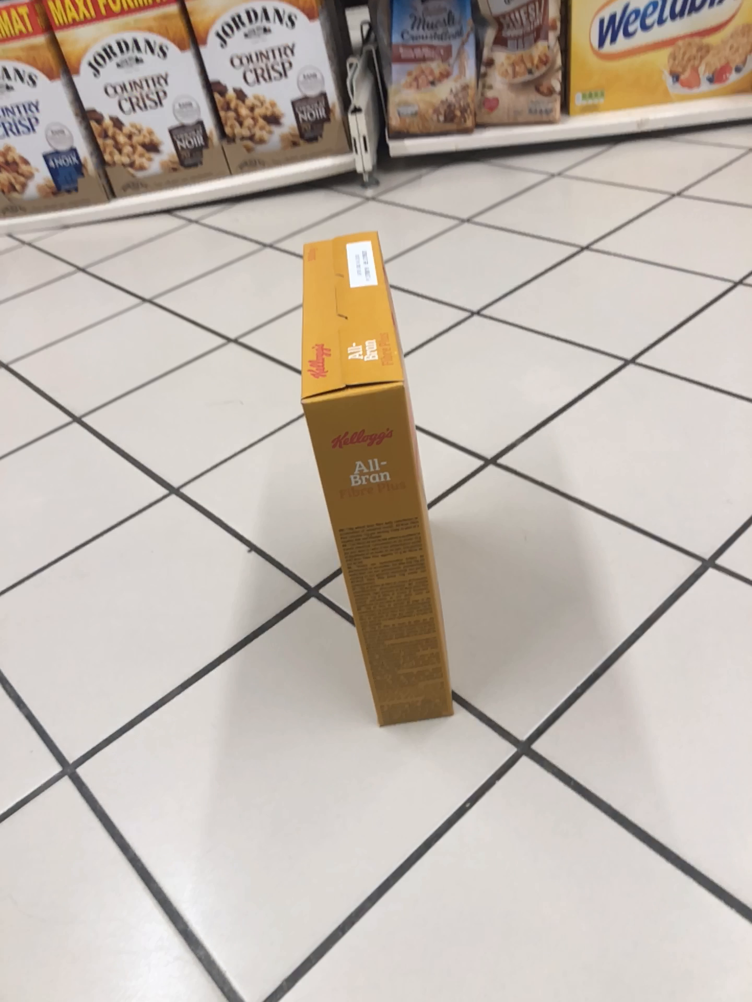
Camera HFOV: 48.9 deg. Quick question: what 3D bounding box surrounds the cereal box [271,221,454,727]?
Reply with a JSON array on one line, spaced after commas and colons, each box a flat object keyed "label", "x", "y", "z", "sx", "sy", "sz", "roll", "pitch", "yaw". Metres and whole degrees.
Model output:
[{"label": "cereal box", "x": -0.005, "y": -0.016, "z": 0.509, "sx": 0.060, "sy": 0.239, "sz": 0.191, "roll": -9, "pitch": 39, "yaw": 3}]
